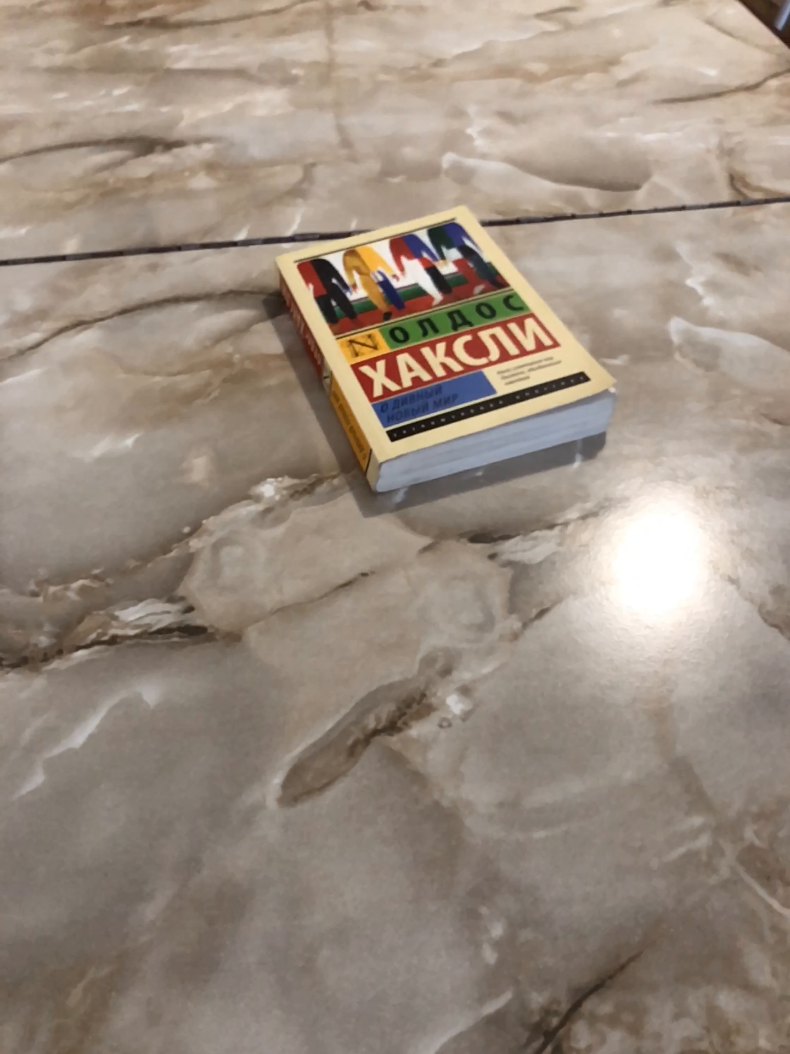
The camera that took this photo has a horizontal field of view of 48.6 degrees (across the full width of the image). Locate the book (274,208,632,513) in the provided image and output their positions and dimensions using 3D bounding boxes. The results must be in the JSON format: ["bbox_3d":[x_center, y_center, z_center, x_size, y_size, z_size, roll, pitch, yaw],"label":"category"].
[{"bbox_3d":[0.019,-0.095,0.447,0.120,0.028,0.185,-15,49,-11],"label":"book"}]
